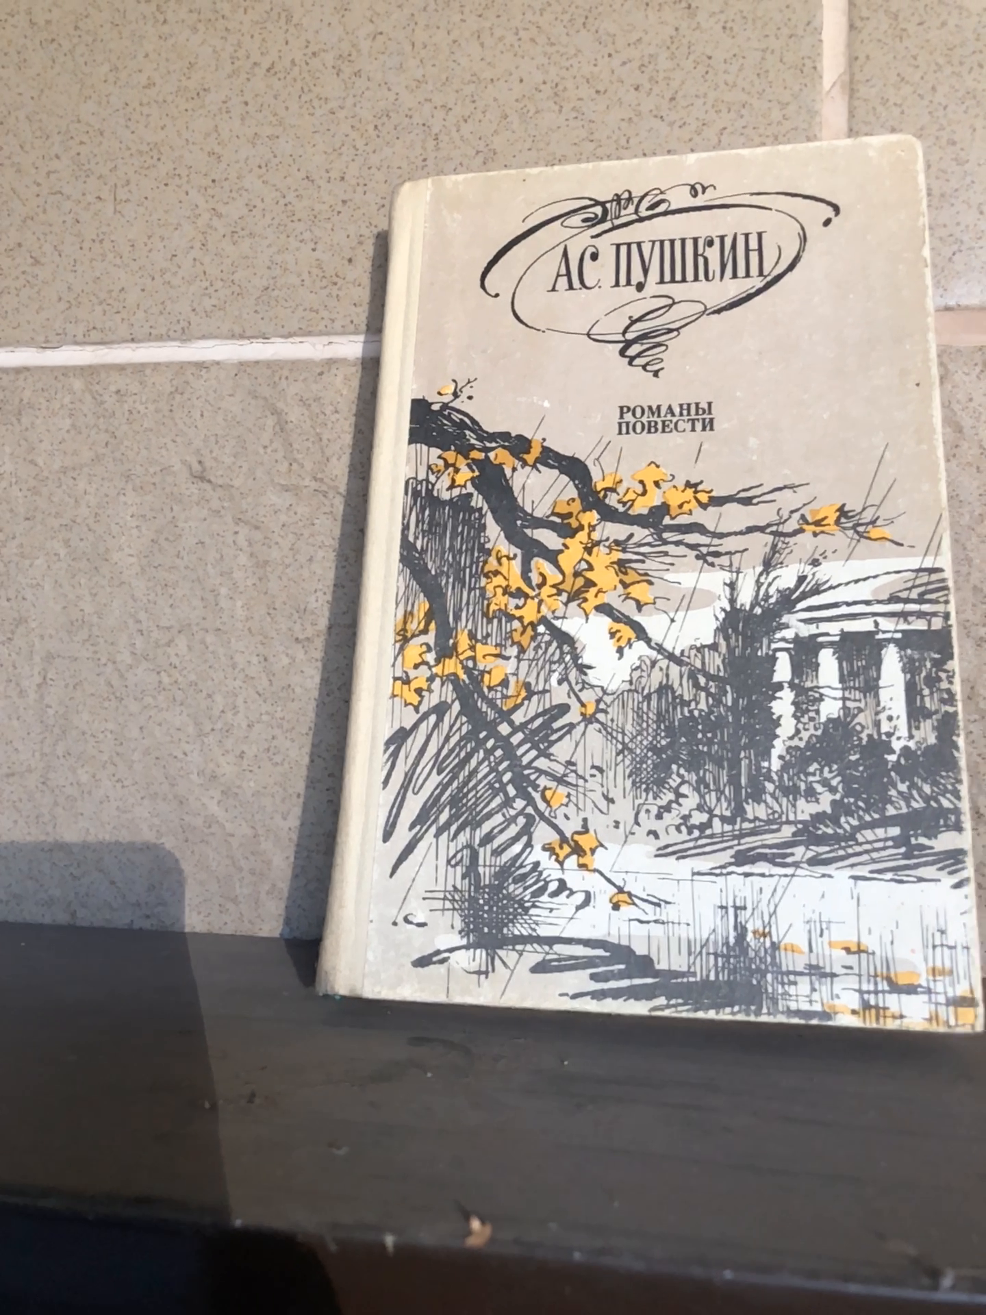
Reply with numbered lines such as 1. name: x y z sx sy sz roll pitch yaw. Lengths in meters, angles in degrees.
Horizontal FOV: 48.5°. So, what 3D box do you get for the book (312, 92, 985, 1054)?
1. book: 0.033 -0.024 0.240 0.130 0.199 0.020 0 -12 11
